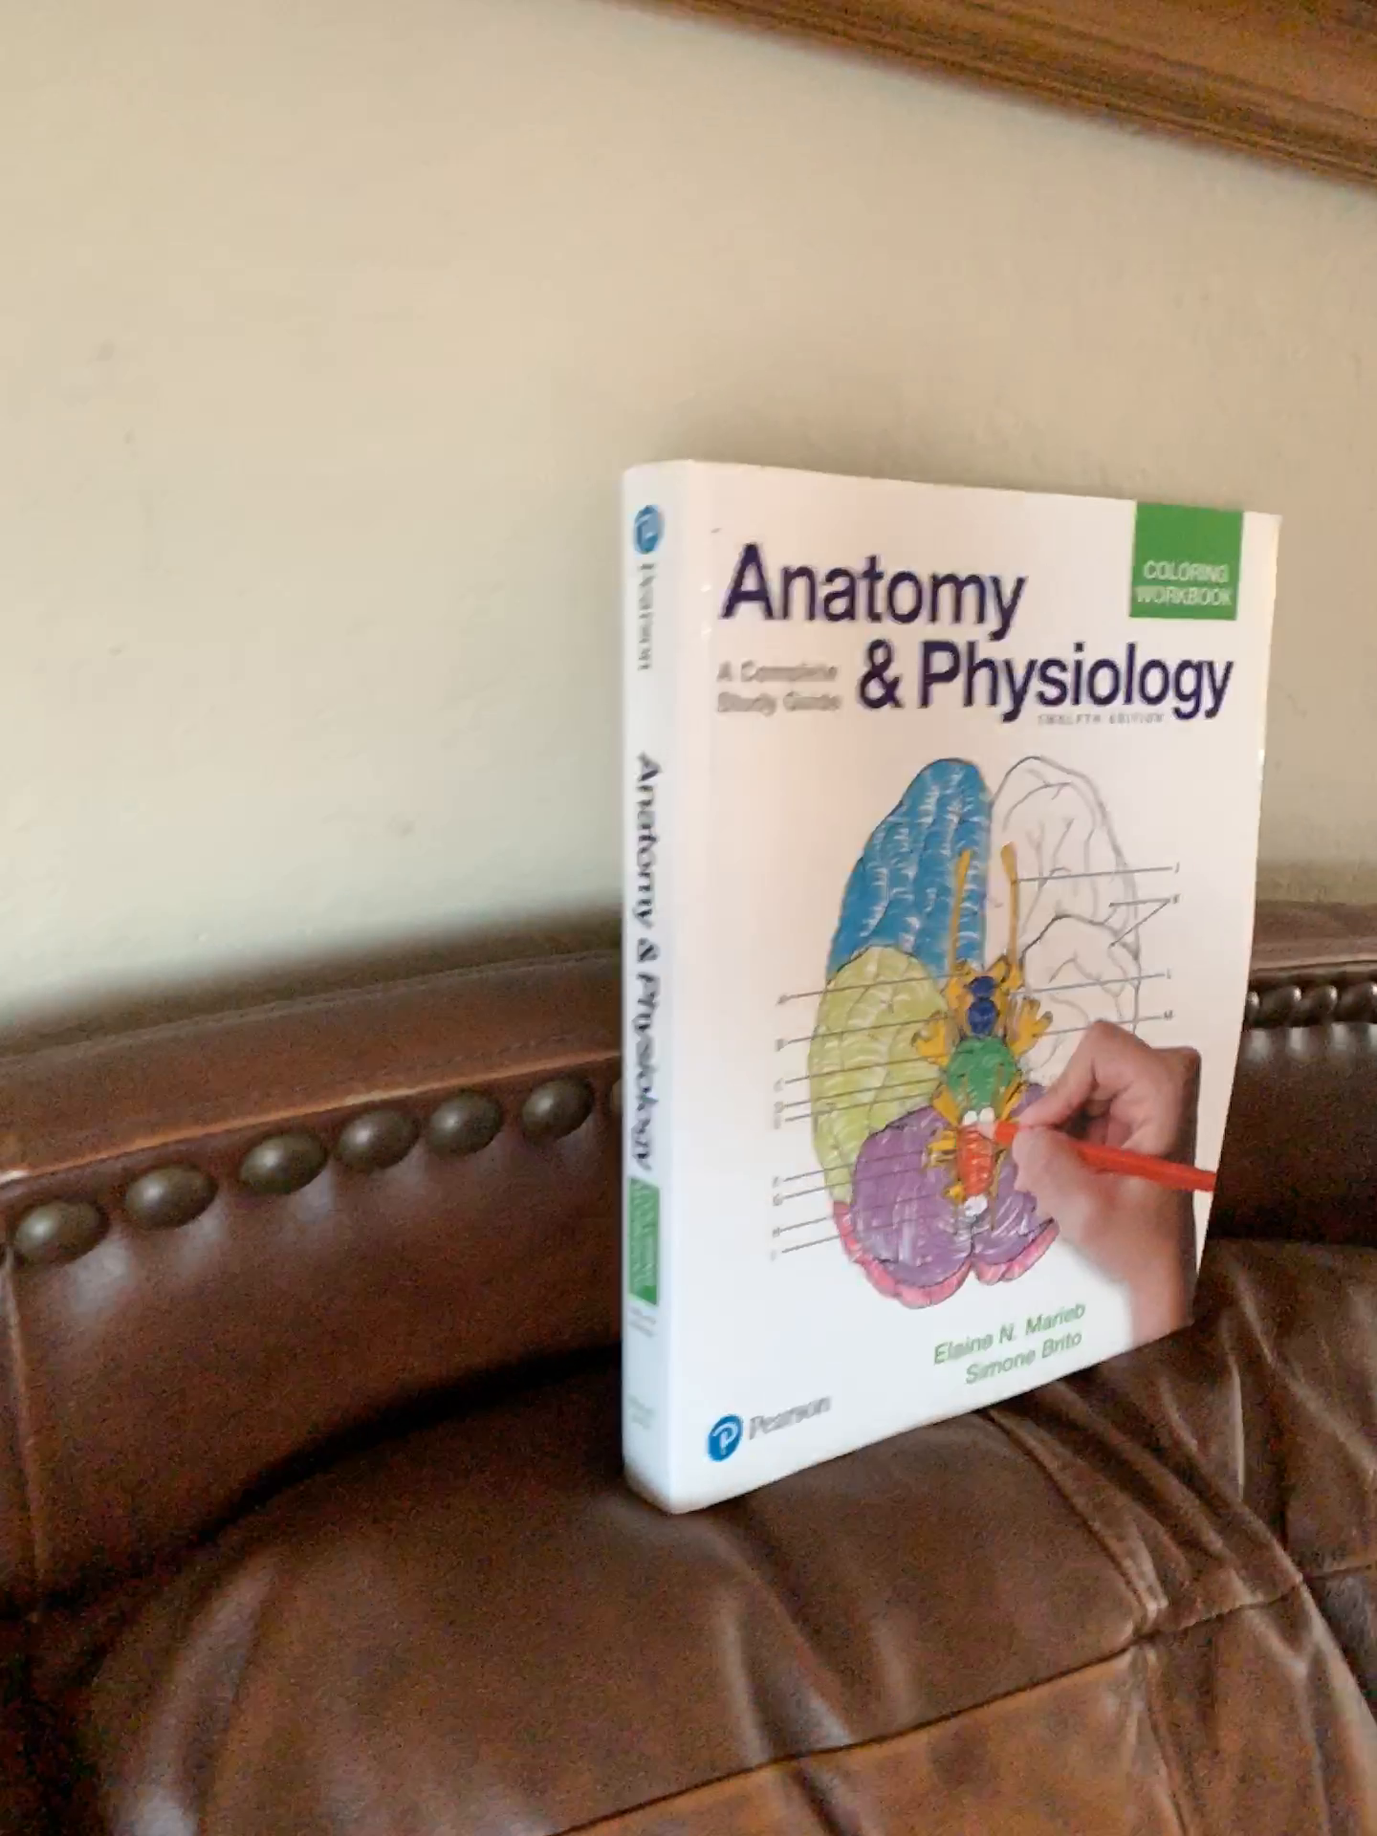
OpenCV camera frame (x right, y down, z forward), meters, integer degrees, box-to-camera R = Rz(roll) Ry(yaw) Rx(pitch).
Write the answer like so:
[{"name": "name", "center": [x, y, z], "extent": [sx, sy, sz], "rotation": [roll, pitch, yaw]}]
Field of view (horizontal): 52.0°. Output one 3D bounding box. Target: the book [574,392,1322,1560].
[{"name": "book", "center": [0.082, 0.008, 0.421], "extent": [0.221, 0.289, 0.060], "rotation": [-8, 13, -30]}]
